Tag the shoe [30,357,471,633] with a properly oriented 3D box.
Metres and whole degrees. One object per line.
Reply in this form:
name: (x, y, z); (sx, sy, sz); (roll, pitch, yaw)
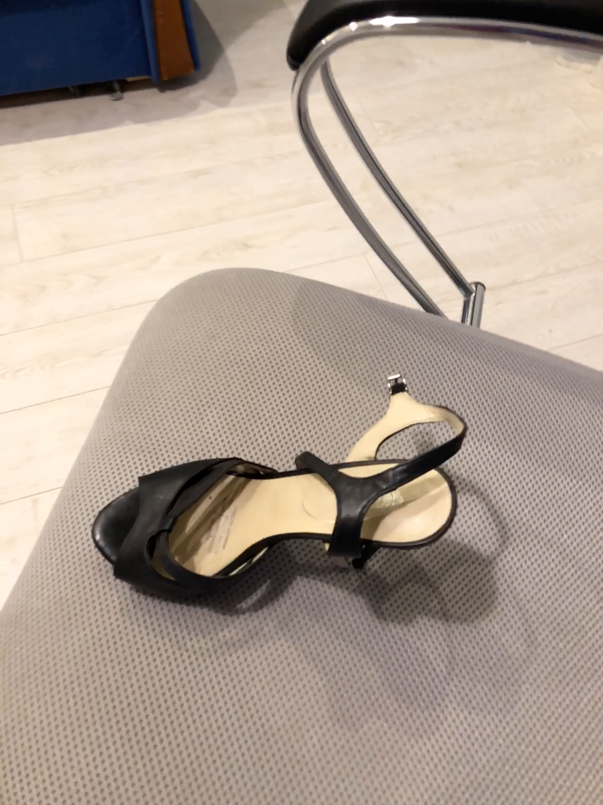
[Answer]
shoe: (-0.022, 0.059, 0.383); (0.210, 0.119, 0.090); (9, 59, 1)
